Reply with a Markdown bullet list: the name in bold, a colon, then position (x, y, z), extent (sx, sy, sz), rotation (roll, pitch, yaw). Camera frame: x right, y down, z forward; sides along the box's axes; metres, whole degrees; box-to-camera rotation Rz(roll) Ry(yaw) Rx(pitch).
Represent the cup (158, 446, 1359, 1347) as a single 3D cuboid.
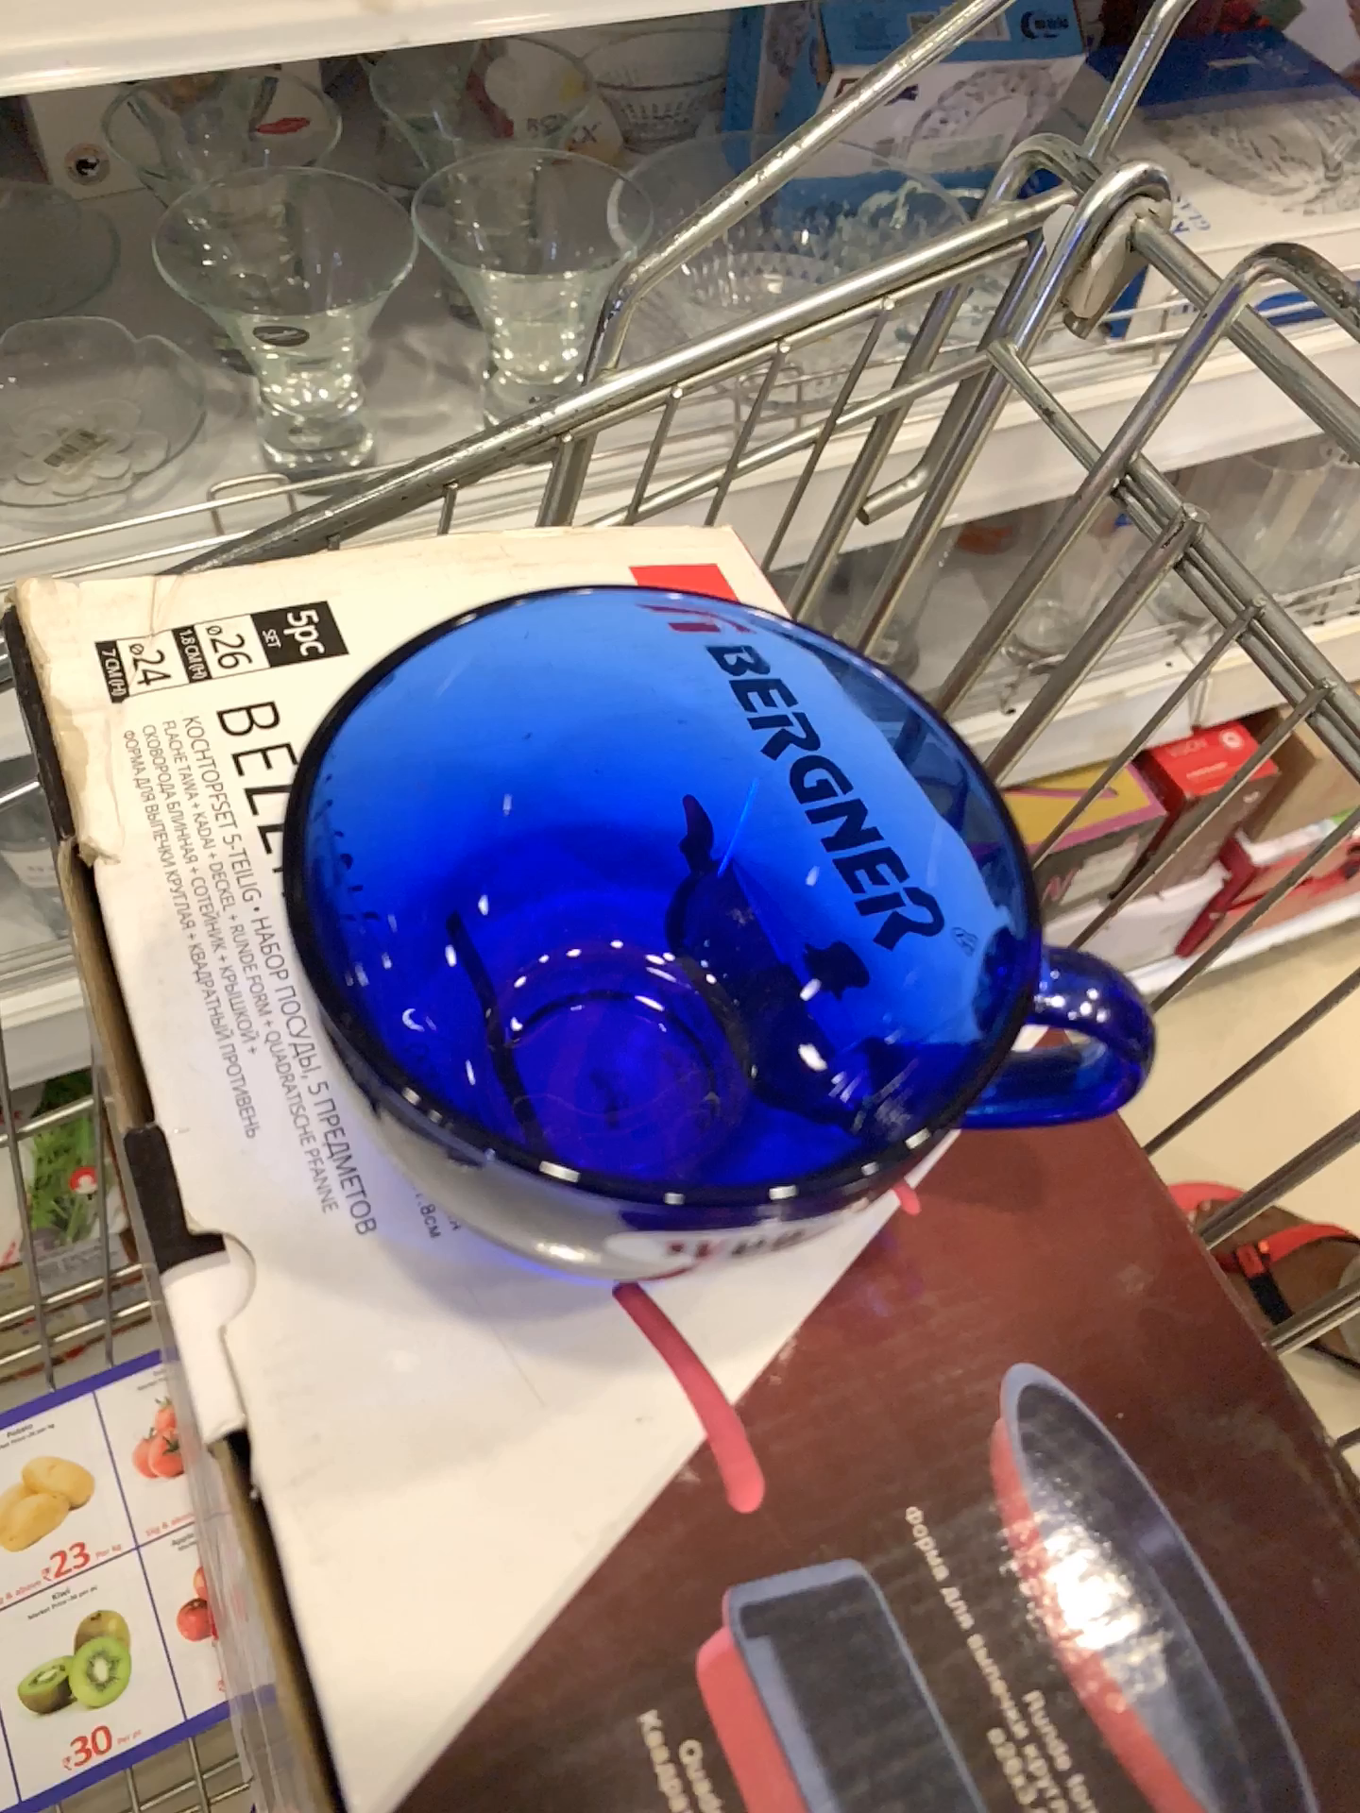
- **cup**: position (0.011, -0.001, 0.164), extent (0.110, 0.050, 0.080), rotation (6, 56, -1)
